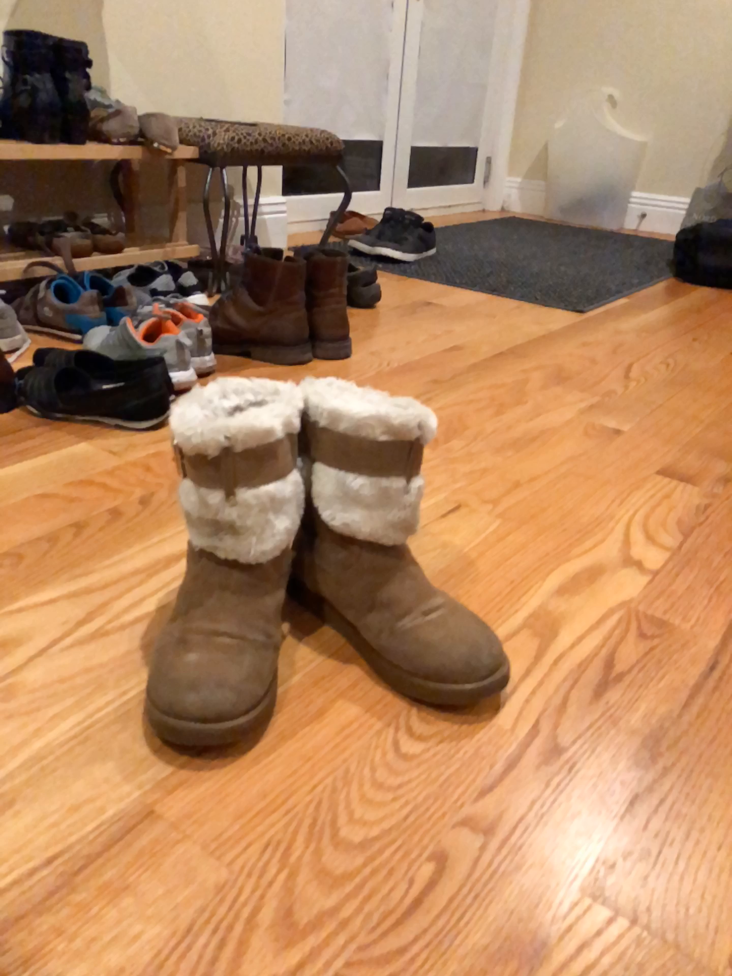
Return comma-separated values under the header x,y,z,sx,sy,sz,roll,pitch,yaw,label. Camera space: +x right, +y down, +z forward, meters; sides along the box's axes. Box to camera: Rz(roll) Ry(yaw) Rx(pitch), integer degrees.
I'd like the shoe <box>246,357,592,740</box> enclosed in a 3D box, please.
x,y,z,sx,sy,sz,roll,pitch,yaw,label
0.023,0.029,0.636,0.113,0.193,0.255,-17,33,-38,shoe

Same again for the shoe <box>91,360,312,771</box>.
x,y,z,sx,sy,sz,roll,pitch,yaw,label
-0.104,0.038,0.591,0.106,0.193,0.256,3,25,-2,shoe
